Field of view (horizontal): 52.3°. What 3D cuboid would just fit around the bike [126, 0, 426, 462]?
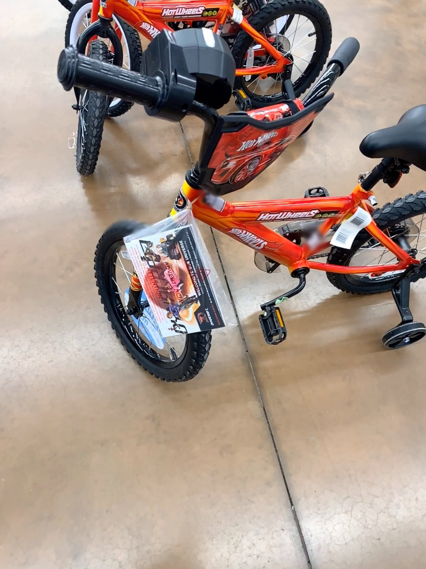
[{"bbox_3d":[0.263,-0.115,0.969,0.740,0.825,0.511,-22,61,-9],"label":"bike"}]
